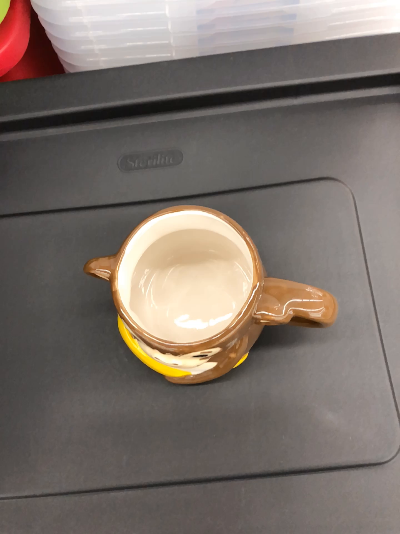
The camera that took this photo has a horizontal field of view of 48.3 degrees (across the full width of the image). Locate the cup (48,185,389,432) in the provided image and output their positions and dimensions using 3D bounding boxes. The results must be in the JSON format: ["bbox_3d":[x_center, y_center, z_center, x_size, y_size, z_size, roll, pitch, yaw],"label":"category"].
[{"bbox_3d":[0.015,0.029,0.272,0.160,0.100,0.110,5,74,4],"label":"cup"}]
